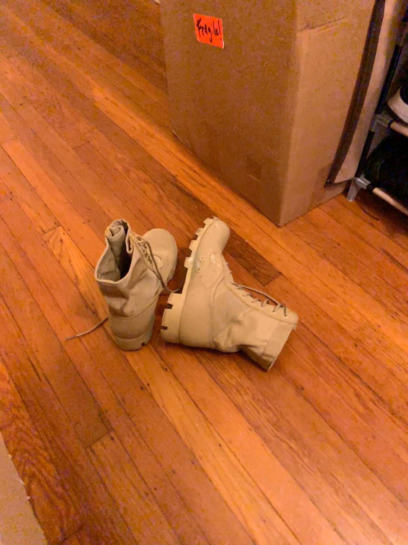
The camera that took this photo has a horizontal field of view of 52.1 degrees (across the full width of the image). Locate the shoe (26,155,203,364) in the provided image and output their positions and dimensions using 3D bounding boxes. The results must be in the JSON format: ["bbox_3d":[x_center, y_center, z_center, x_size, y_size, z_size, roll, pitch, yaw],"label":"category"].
[{"bbox_3d":[-0.134,-0.029,0.774,0.190,0.199,0.301,11,55,10],"label":"shoe"}]

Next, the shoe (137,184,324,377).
[{"bbox_3d":[0.066,-0.004,0.768,0.250,0.119,0.311,9,54,18],"label":"shoe"}]
